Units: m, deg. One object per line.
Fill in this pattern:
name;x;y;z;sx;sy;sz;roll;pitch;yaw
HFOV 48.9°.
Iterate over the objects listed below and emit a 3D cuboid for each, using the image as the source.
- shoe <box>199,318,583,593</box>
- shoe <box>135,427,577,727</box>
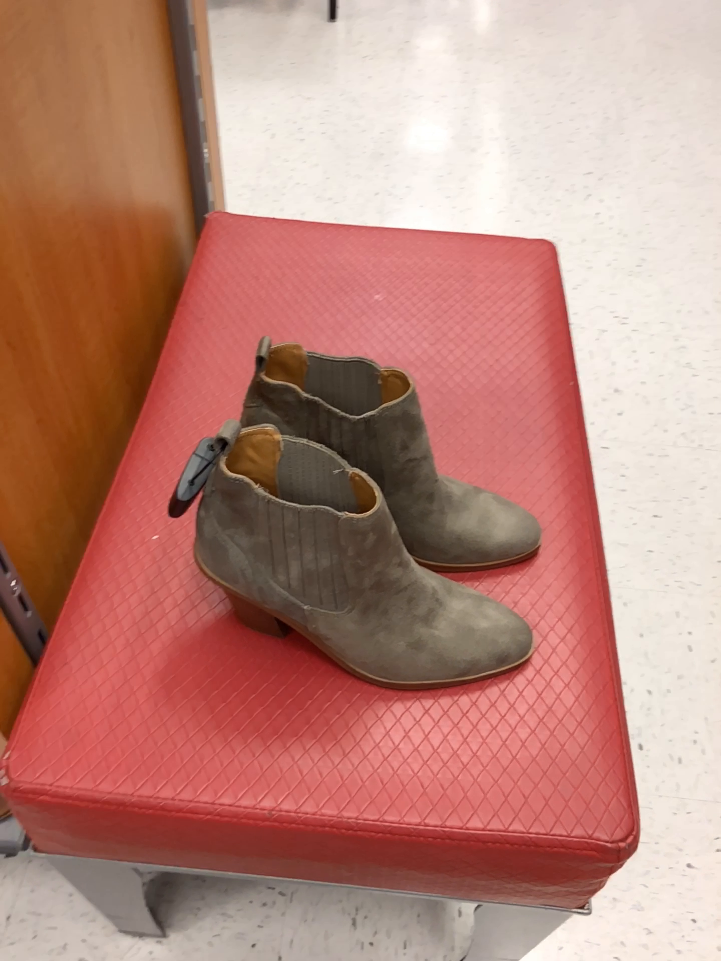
shoe;0.023;-0.017;0.604;0.250;0.150;0.107;7;49;4
shoe;-0.001;0.069;0.537;0.250;0.160;0.097;7;49;4
